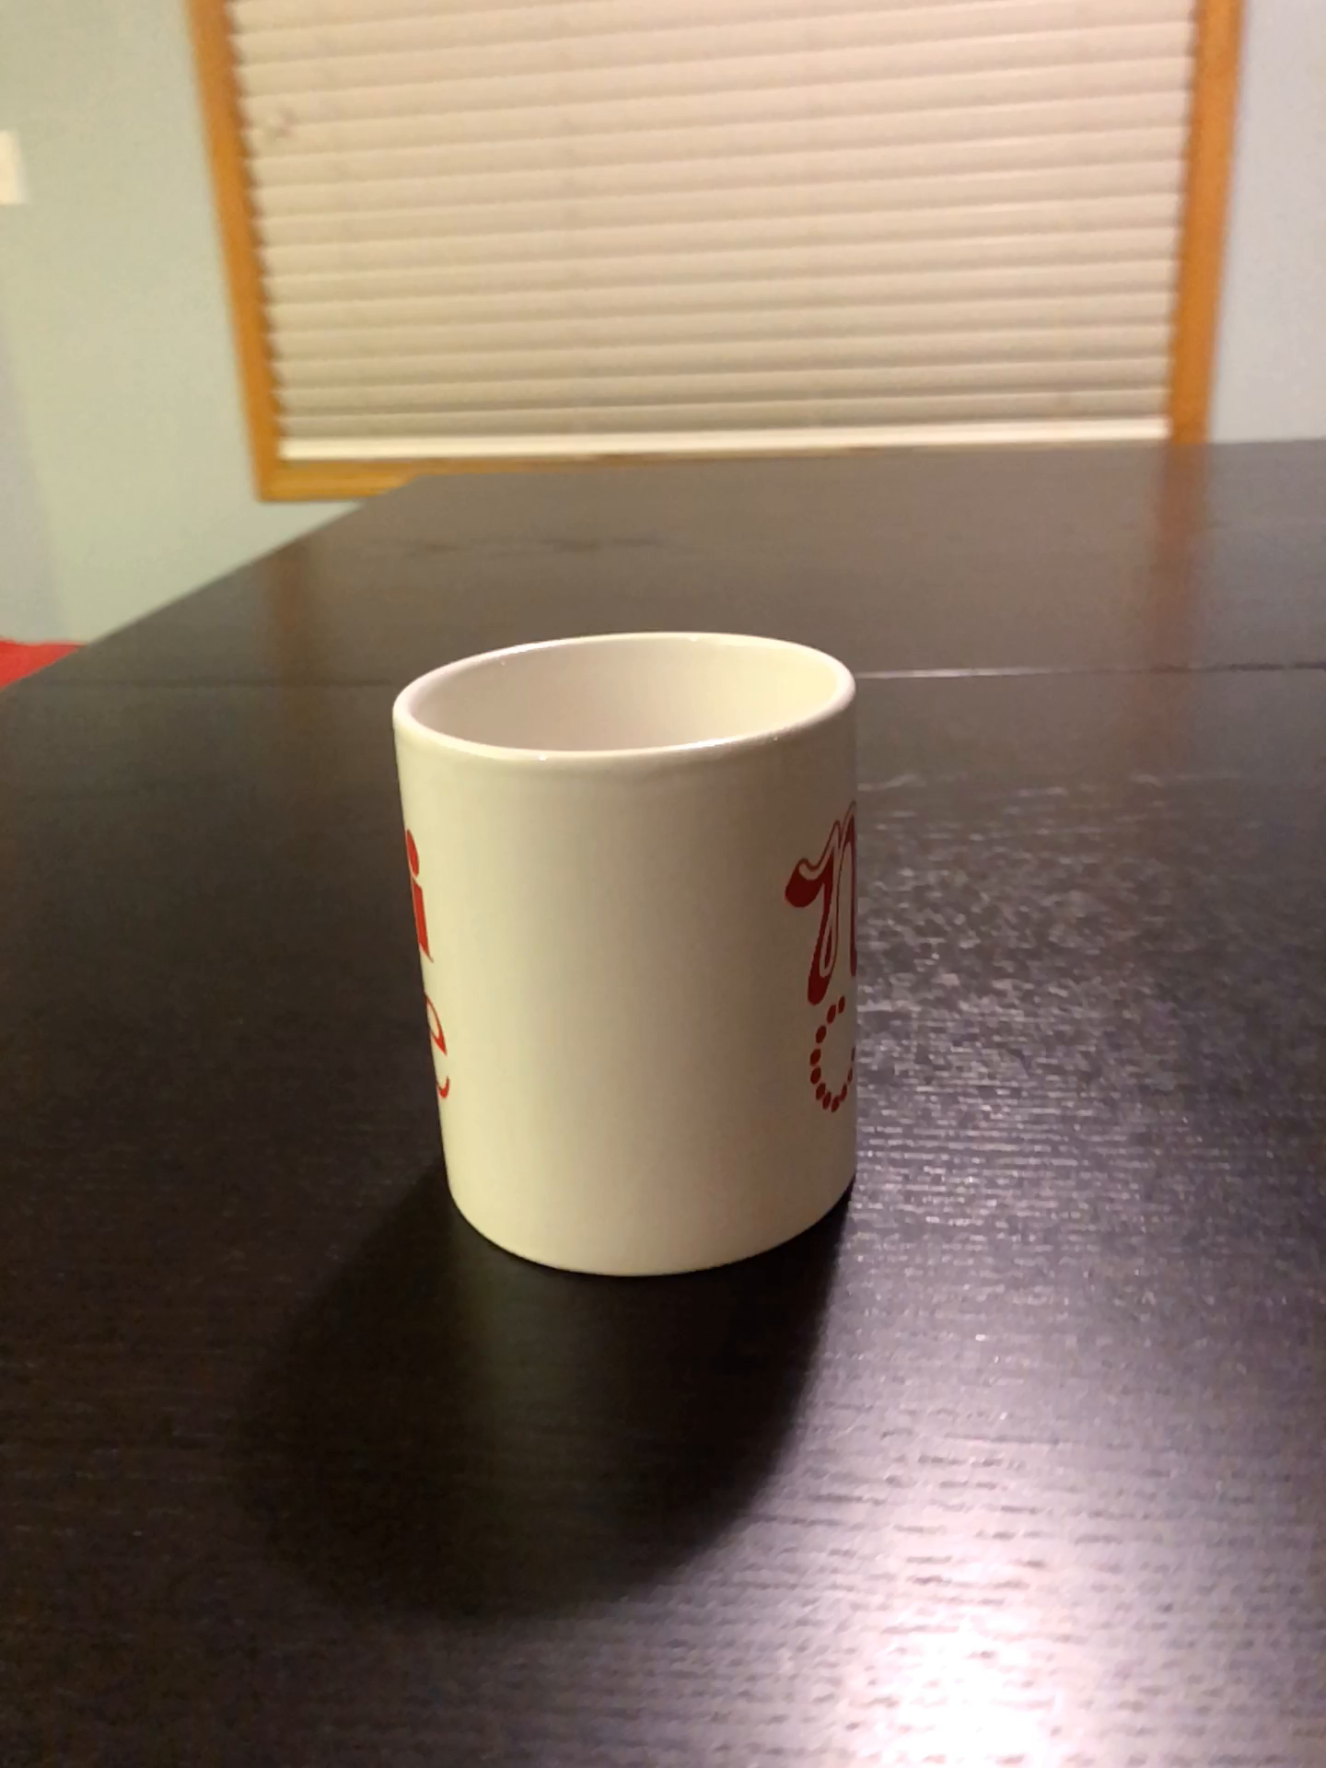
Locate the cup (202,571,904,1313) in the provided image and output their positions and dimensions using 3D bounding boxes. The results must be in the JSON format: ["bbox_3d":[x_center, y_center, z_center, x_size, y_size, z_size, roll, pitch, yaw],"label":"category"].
[{"bbox_3d":[-0.008,0.000,0.293,0.100,0.100,0.121,2,23,12],"label":"cup"}]
